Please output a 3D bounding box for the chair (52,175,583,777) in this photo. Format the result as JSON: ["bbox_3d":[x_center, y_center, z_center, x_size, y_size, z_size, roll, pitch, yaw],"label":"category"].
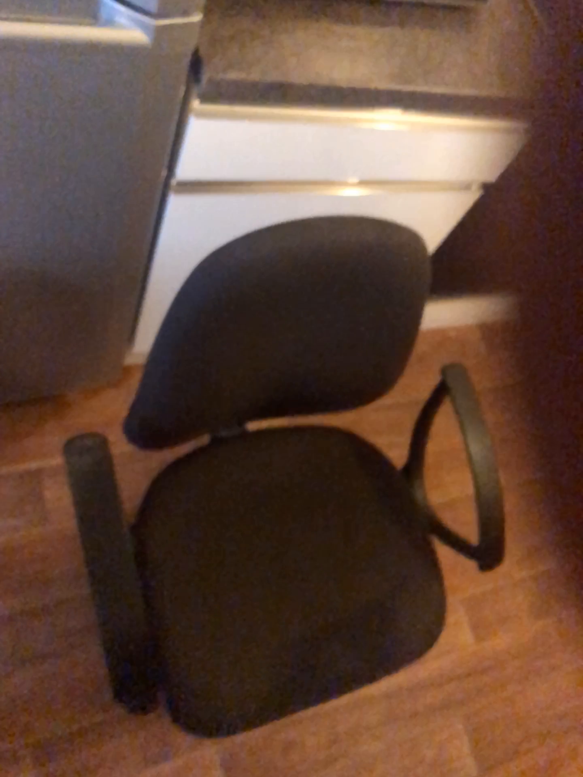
[{"bbox_3d":[0.008,0.218,1.058,0.638,0.883,0.643,-10,70,-24],"label":"chair"}]
